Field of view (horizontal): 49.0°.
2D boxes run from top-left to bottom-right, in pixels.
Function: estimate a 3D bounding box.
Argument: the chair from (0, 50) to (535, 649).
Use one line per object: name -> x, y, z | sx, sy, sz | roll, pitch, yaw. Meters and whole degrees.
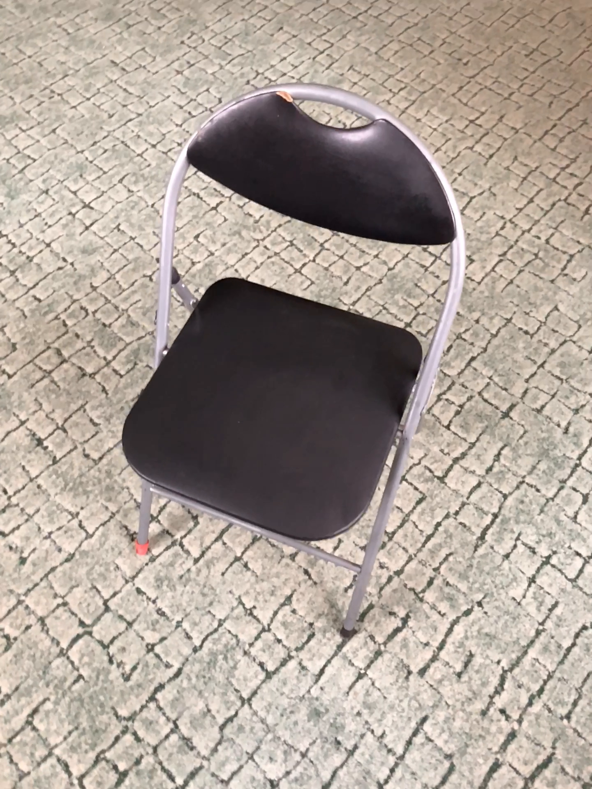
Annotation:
chair -> -0.023, 0.001, 1.002 | 0.456, 0.733, 0.477 | 19, 60, 10
